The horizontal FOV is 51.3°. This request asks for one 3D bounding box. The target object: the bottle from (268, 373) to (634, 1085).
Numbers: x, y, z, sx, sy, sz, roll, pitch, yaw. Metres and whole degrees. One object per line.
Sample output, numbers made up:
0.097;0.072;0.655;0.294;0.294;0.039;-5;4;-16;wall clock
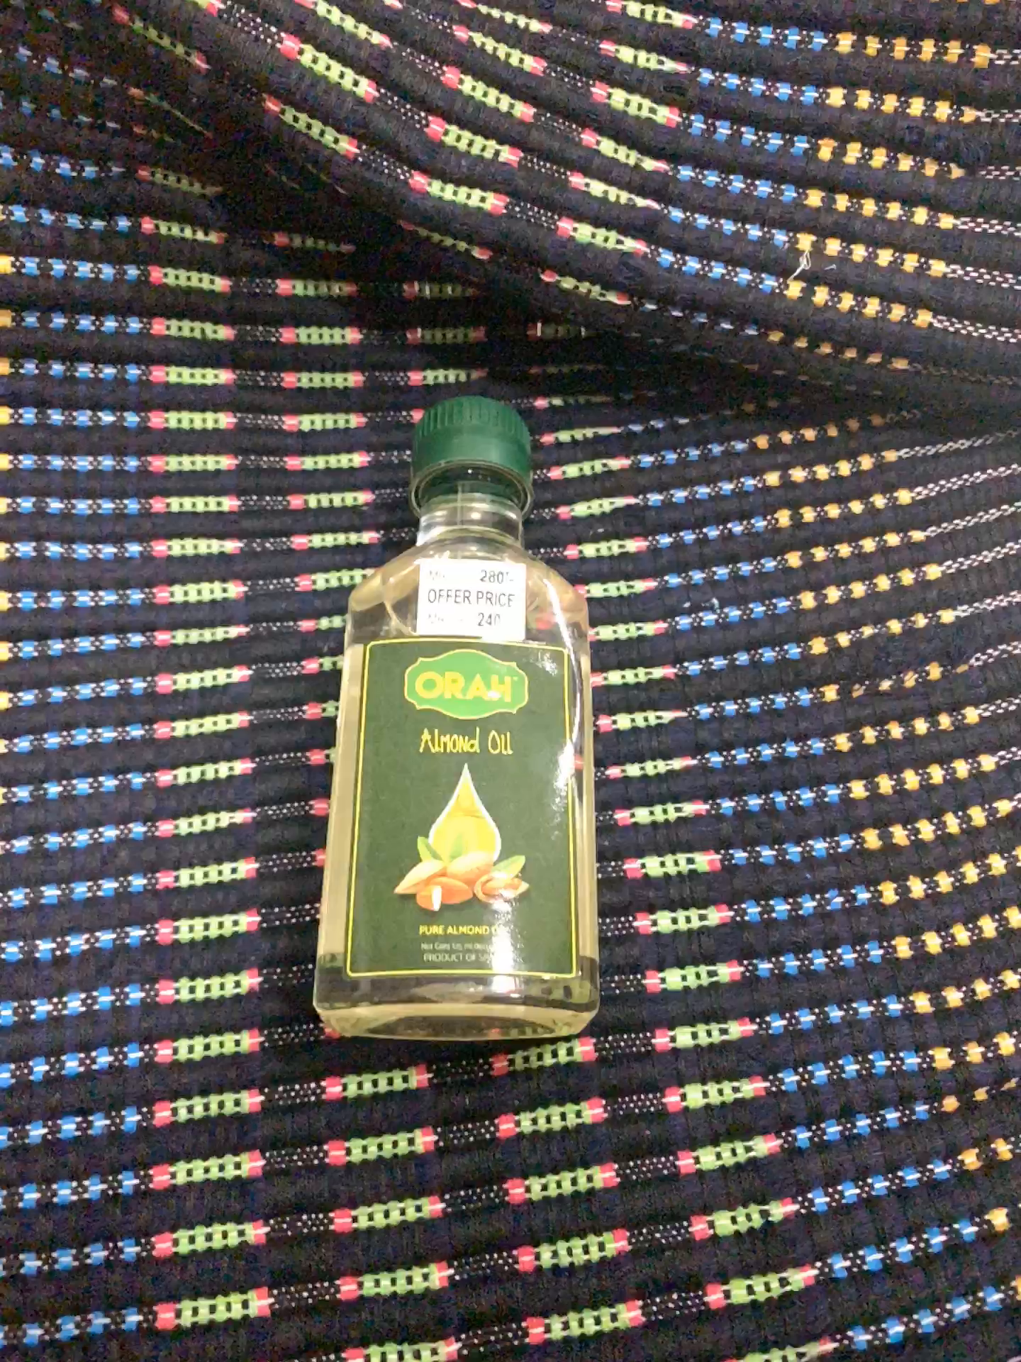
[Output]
-0.011;0.003;0.223;0.060;0.030;0.150;1;62;-2;bottle
